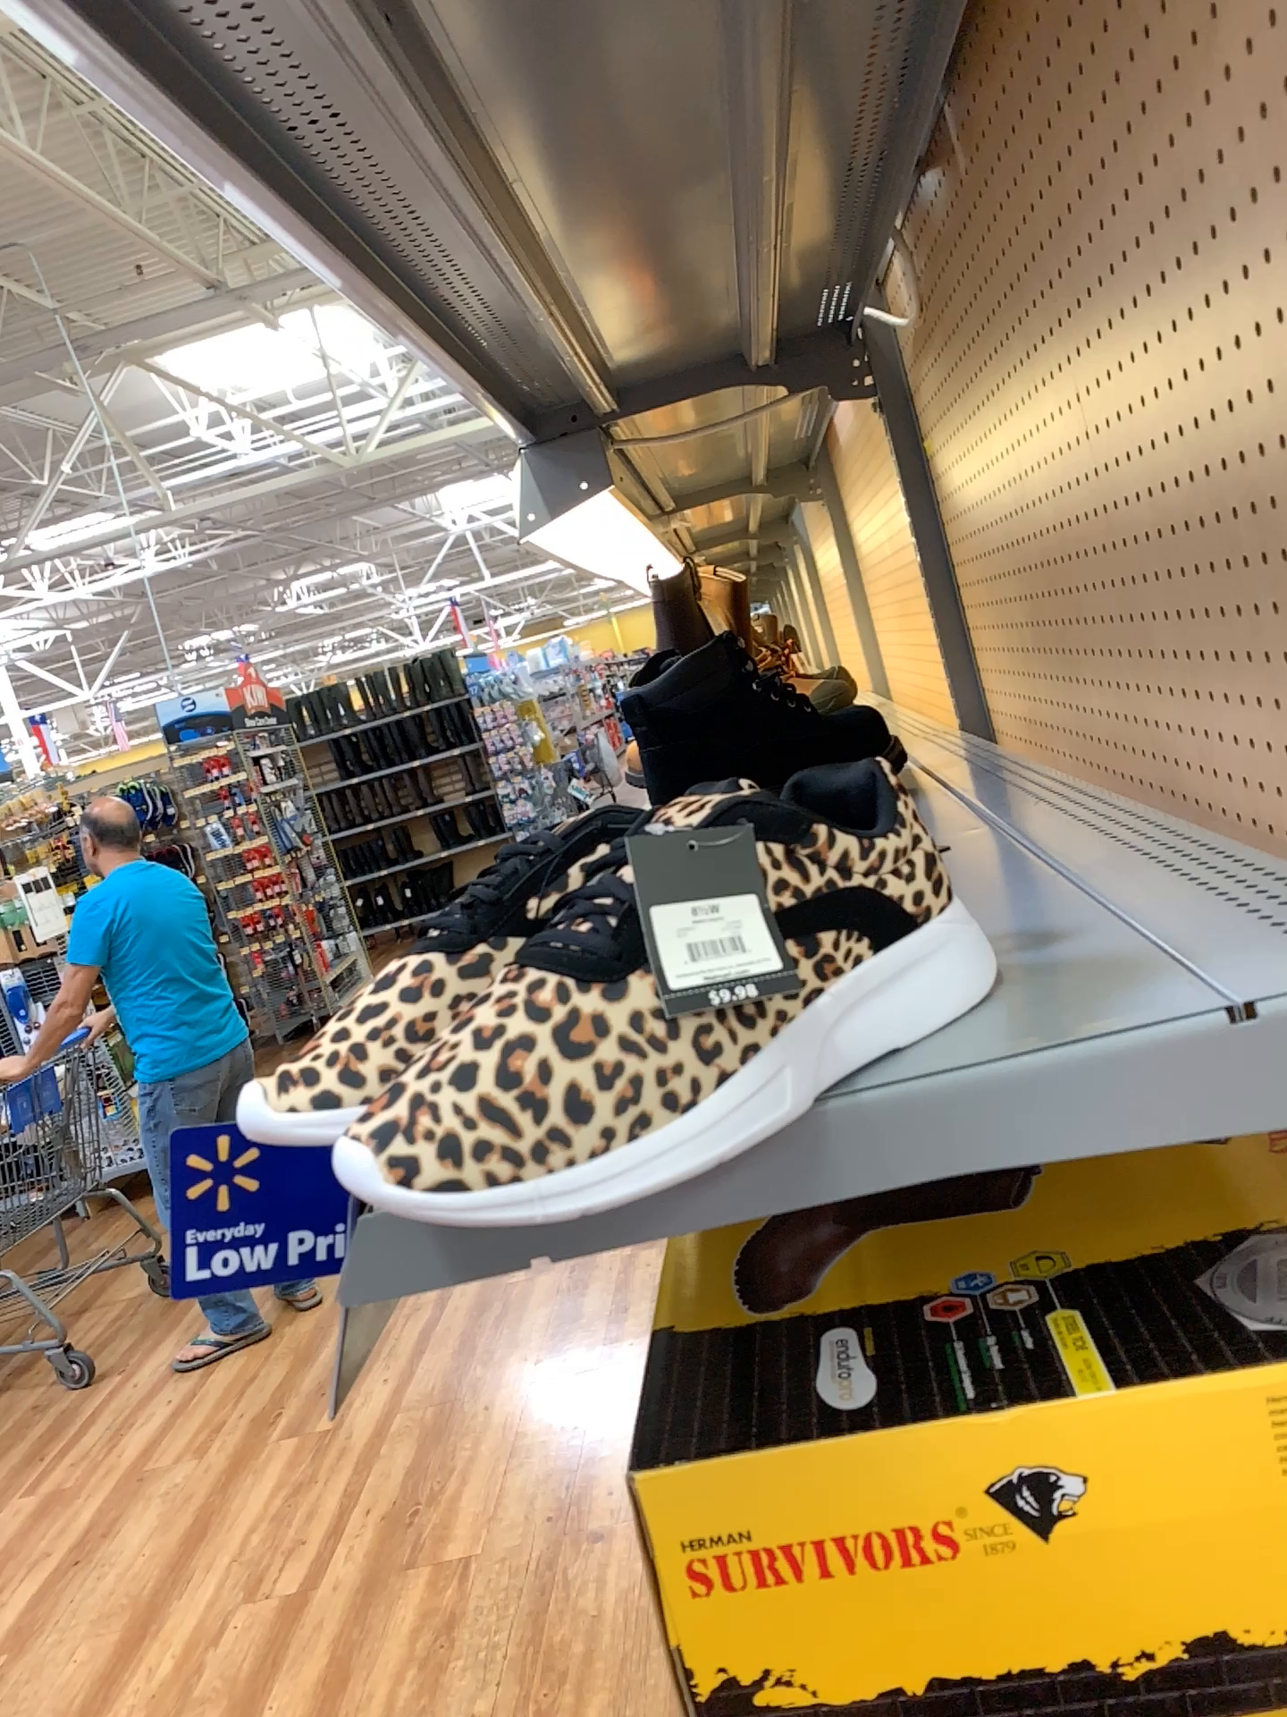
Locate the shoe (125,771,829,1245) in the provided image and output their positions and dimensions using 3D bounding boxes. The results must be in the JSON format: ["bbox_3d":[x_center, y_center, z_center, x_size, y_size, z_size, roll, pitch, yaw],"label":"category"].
[{"bbox_3d":[-0.066,0.046,0.531,0.240,0.091,0.120,-20,9,-27],"label":"shoe"}]

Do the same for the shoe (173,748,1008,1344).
[{"bbox_3d":[-0.011,0.045,0.438,0.240,0.091,0.110,-21,9,-31],"label":"shoe"}]
